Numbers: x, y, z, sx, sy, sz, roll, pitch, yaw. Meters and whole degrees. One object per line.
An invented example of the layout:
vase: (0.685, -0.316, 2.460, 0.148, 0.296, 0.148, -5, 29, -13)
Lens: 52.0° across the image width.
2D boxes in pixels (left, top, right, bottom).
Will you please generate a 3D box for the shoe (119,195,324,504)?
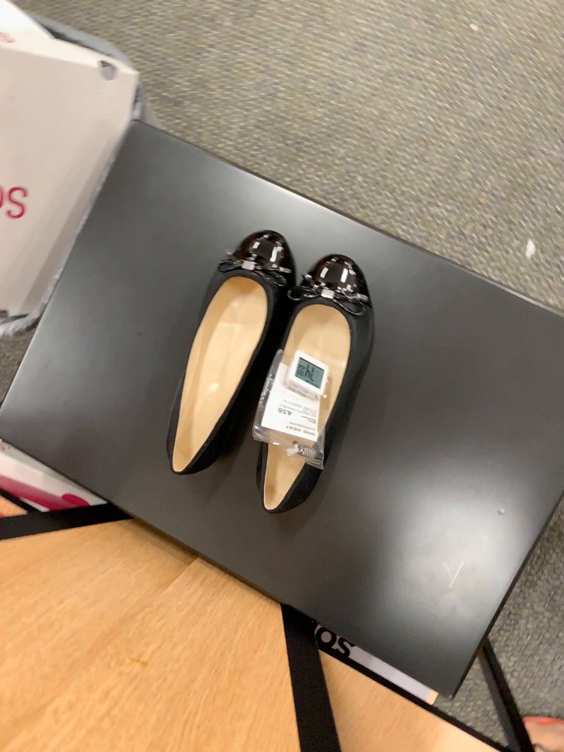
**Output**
shoe: (-0.051, -0.023, 0.546, 0.090, 0.100, 0.250, 20, 93, 10)

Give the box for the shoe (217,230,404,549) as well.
shoe: (0.030, 0.011, 0.530, 0.090, 0.100, 0.250, 16, 92, 10)
